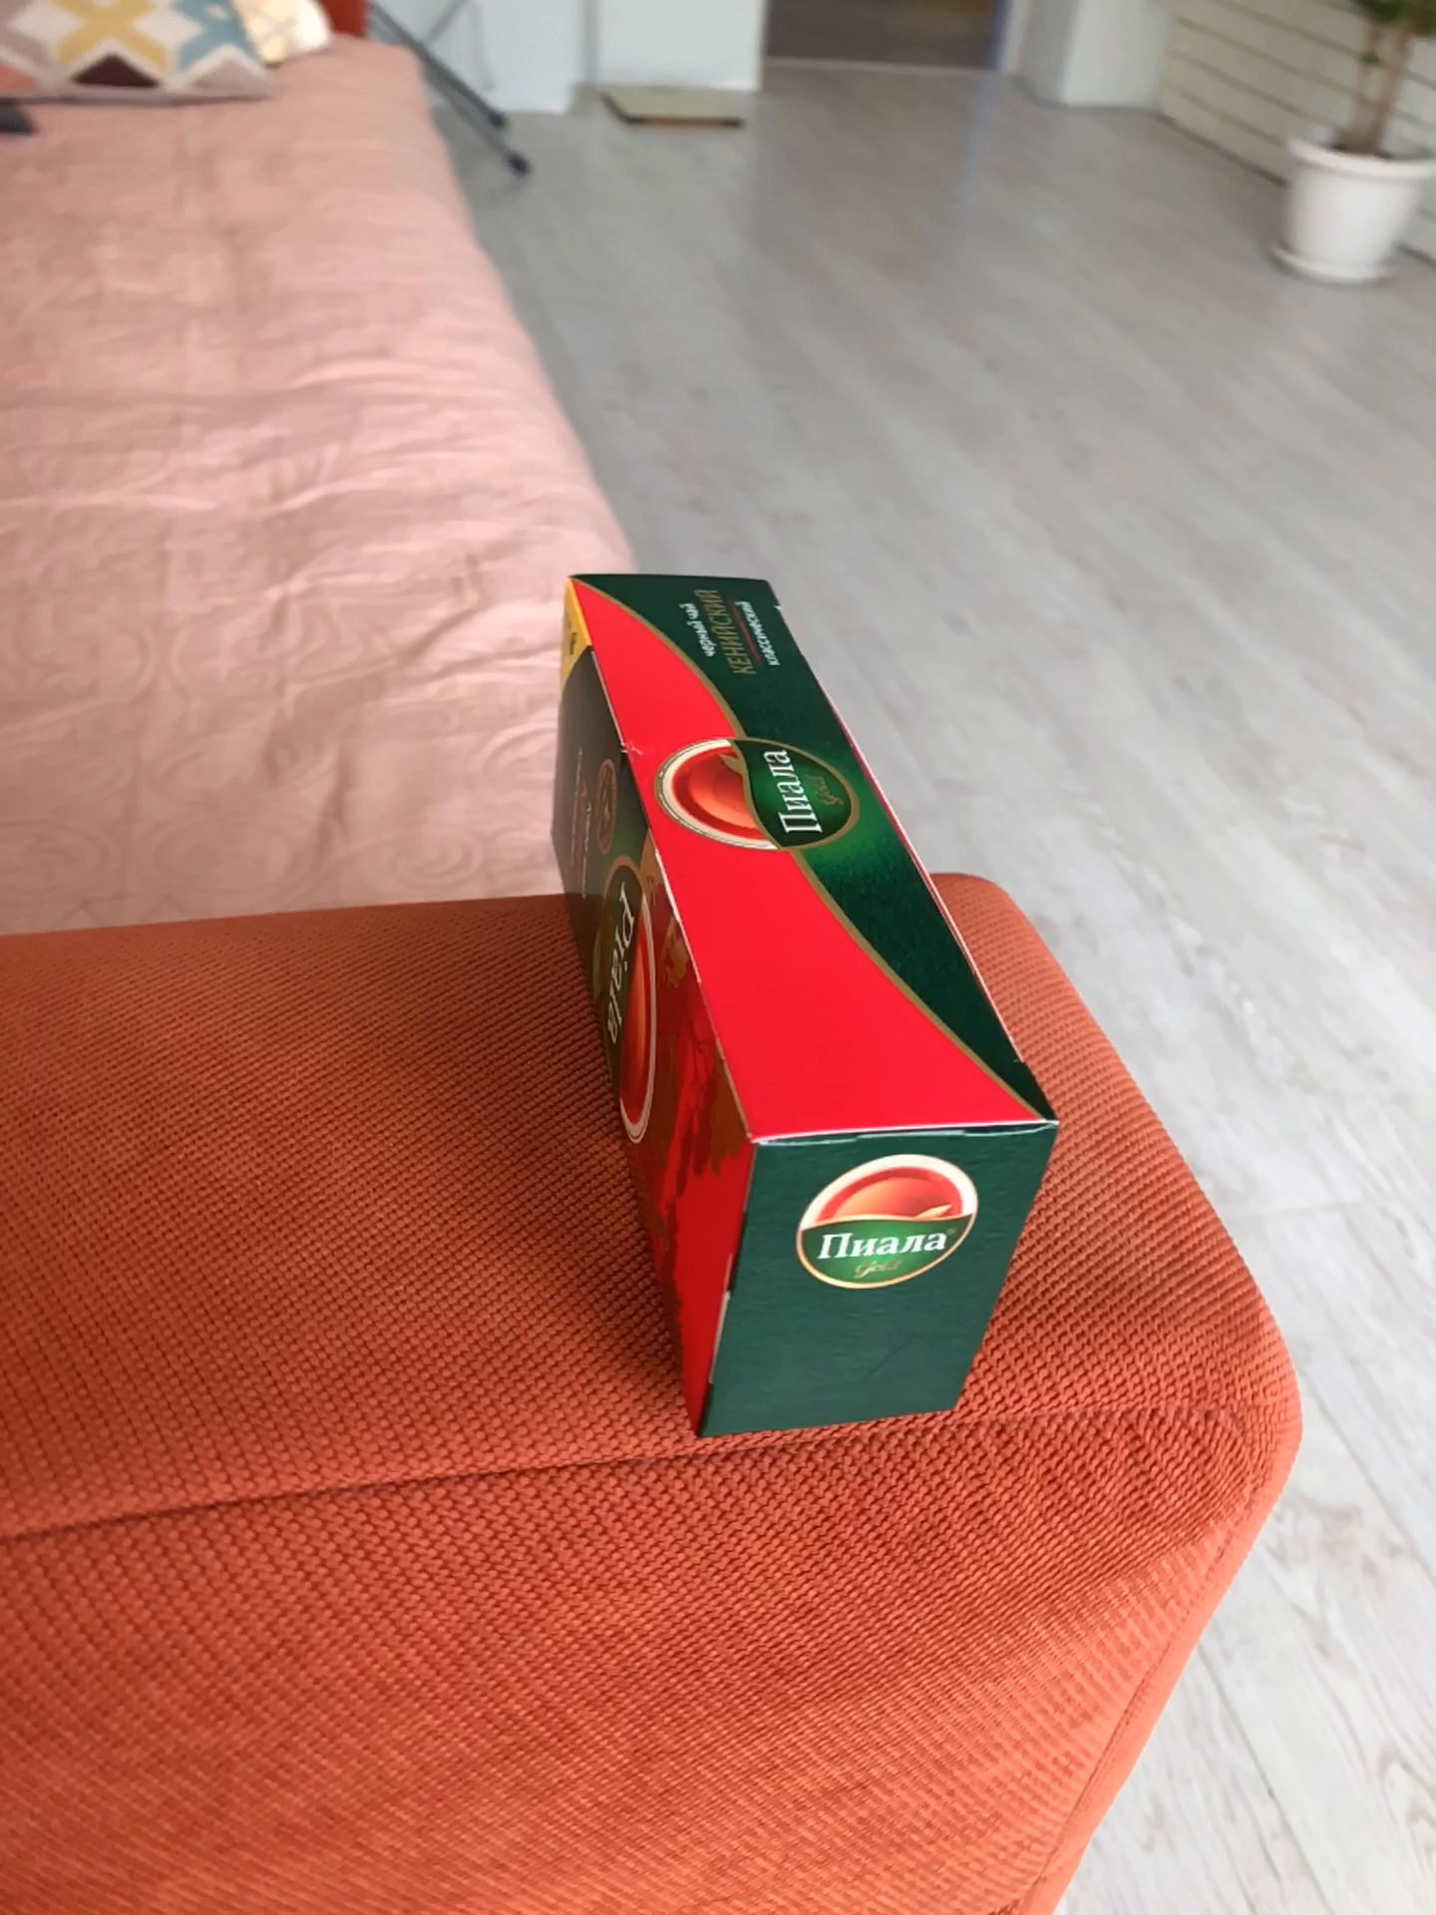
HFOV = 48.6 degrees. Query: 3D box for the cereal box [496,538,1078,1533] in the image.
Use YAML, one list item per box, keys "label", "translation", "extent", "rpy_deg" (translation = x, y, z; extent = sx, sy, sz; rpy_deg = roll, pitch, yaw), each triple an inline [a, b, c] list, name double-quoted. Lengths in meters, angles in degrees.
- label: "cereal box"
  translation: [-0.003, -0.002, 0.270]
  extent: [0.050, 0.069, 0.171]
  rpy_deg: [-4, 39, -13]
